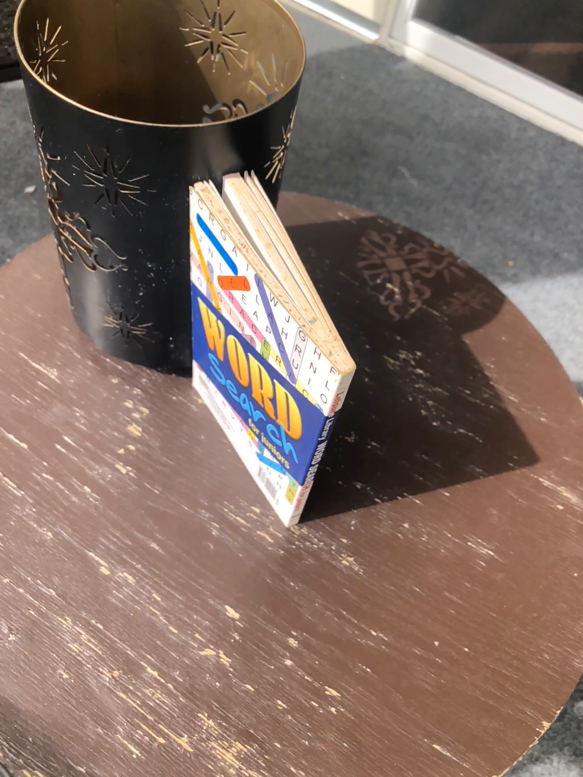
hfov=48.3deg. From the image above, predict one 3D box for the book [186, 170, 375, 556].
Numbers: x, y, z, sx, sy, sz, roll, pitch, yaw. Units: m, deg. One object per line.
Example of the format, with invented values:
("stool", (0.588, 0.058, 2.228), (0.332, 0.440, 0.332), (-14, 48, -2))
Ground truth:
("book", (-0.017, -0.001, 0.348), (0.031, 0.179, 0.125), (-19, 62, -17))
